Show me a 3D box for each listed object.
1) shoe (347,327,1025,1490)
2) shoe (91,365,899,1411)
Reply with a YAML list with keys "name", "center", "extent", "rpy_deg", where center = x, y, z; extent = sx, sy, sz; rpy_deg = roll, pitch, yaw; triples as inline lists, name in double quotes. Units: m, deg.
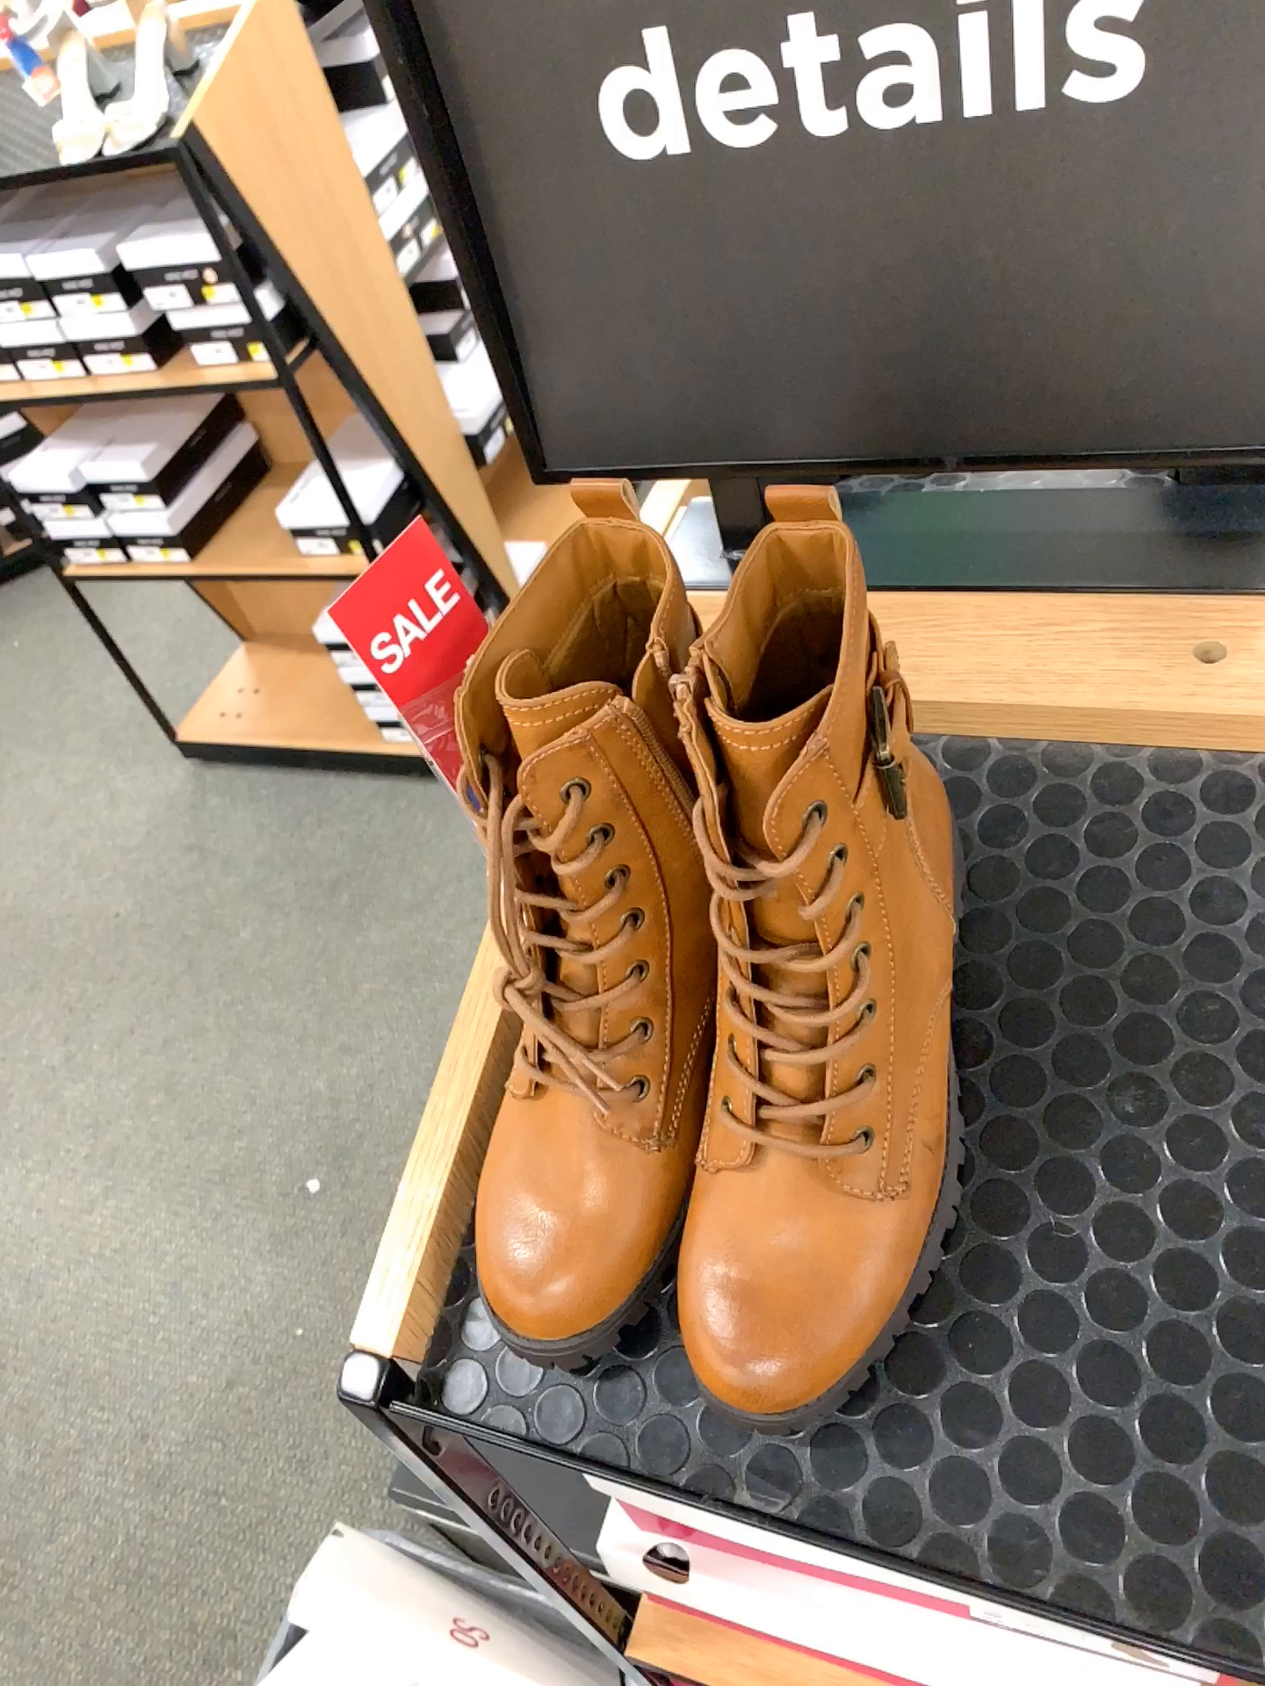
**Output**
- name: "shoe"
  center: [0.056, 0.015, 0.430]
  extent: [0.110, 0.229, 0.287]
  rpy_deg: [2, 49, 21]
- name: "shoe"
  center: [-0.008, 0.010, 0.460]
  extent: [0.090, 0.229, 0.276]
  rpy_deg: [12, 53, 29]
